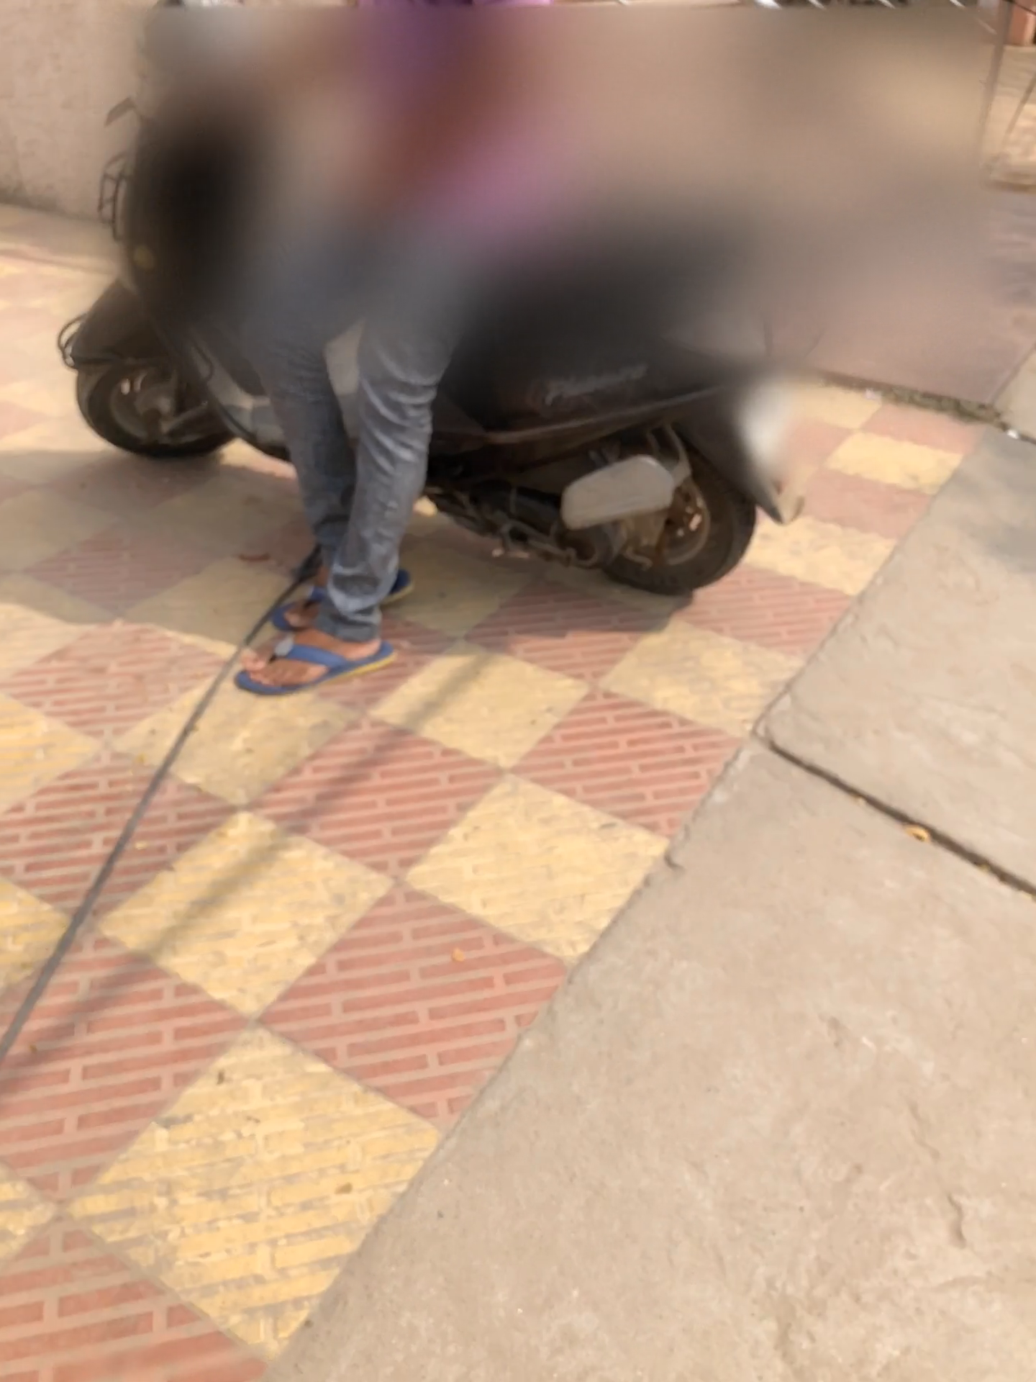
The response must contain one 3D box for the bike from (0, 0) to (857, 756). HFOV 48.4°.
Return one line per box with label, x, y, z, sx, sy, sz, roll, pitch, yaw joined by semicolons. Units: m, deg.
bike;-0.371;-0.696;2.125;1.592;1.116;0.640;15;36;17
